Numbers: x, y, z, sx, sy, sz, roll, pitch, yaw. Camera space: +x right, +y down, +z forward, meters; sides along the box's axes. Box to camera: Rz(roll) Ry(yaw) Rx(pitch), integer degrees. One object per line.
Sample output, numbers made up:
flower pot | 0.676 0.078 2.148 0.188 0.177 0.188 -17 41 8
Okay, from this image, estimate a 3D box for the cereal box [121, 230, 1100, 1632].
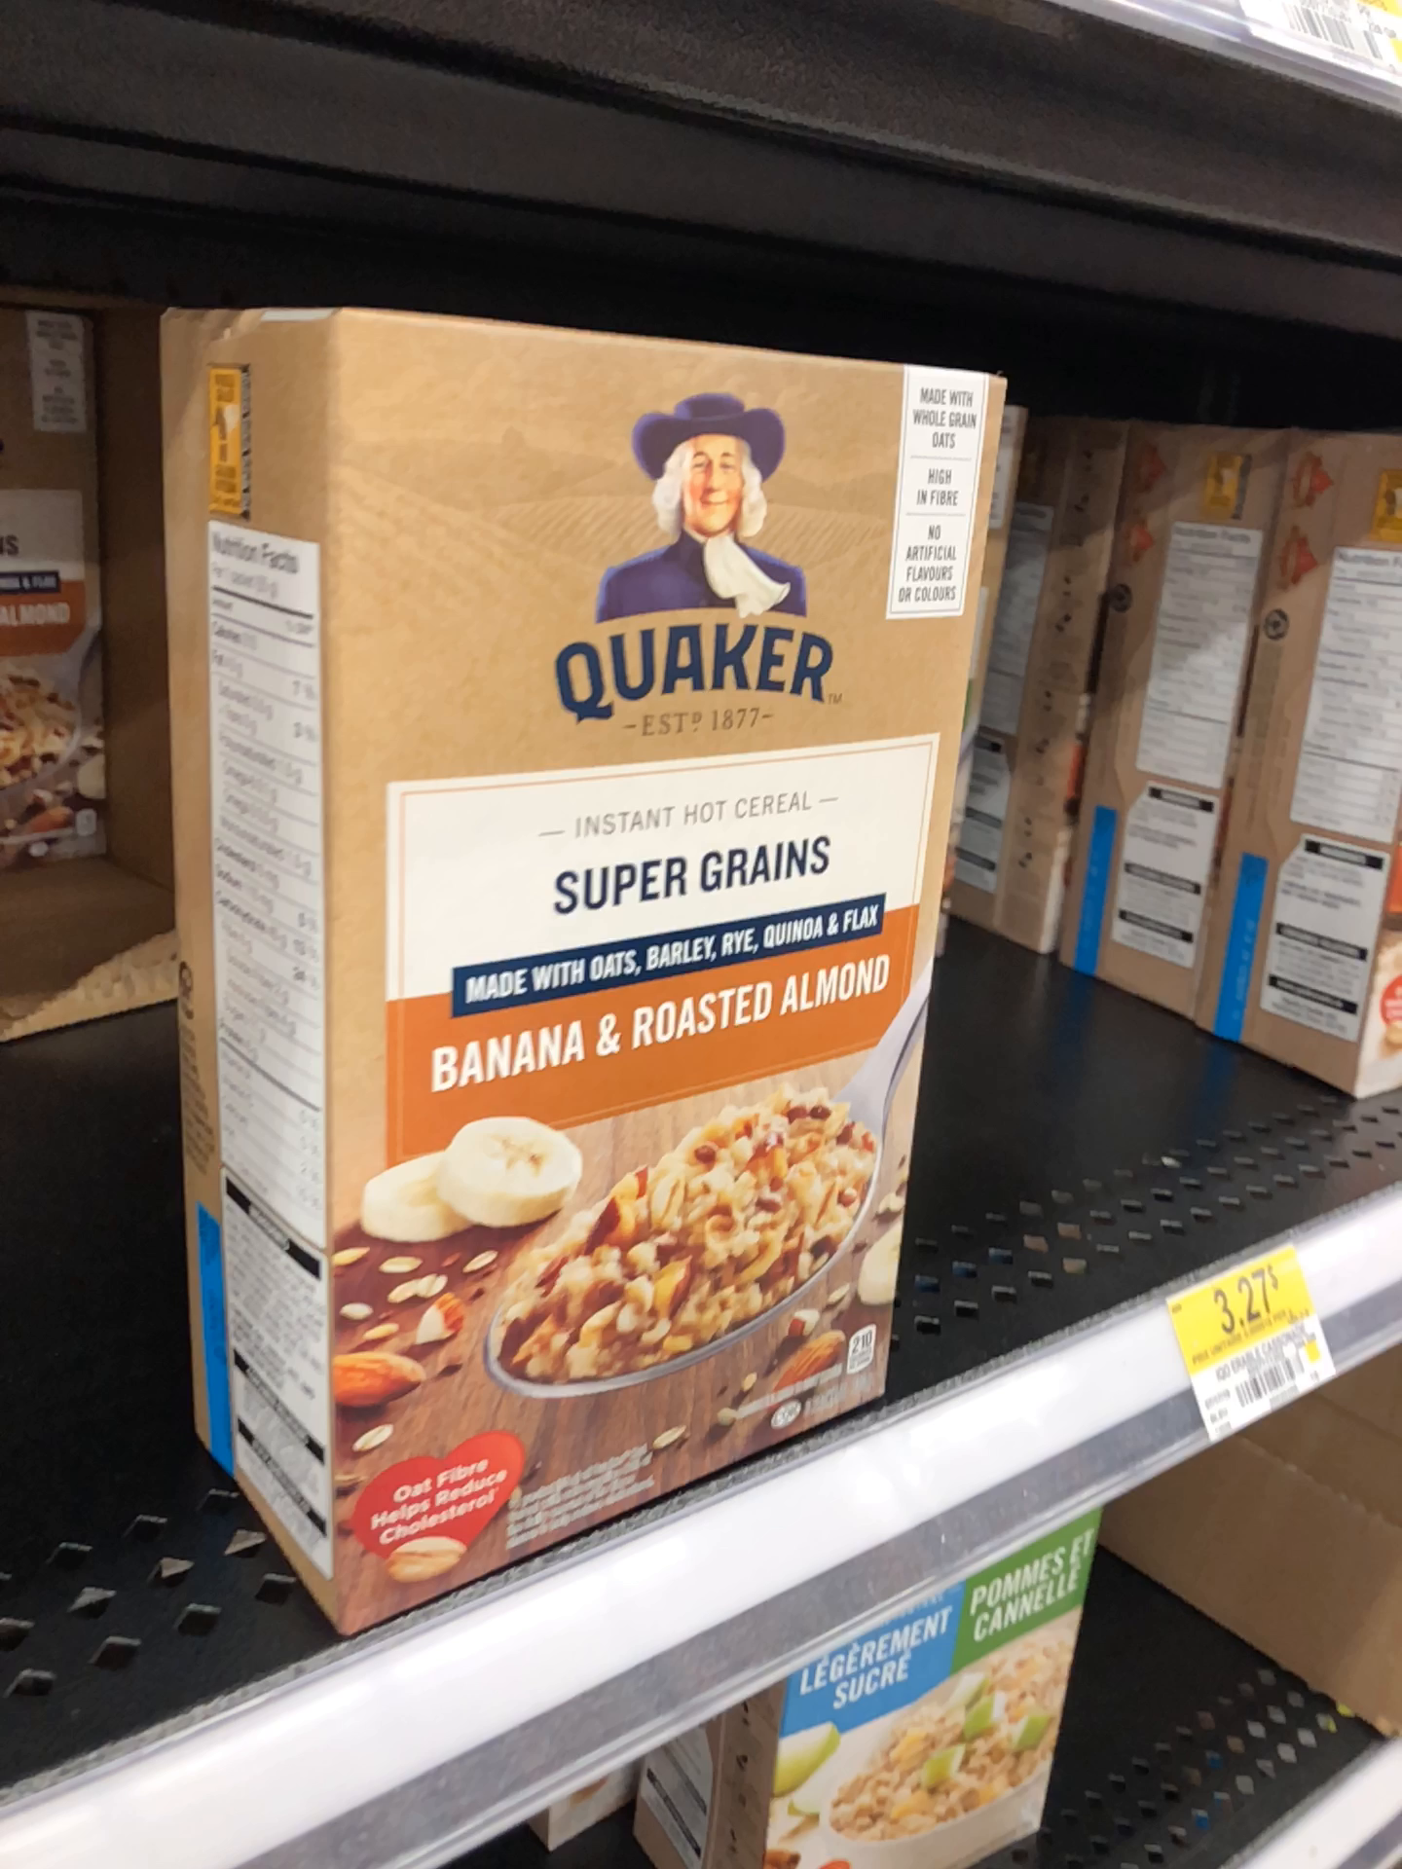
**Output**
cereal box | -0.017 -0.007 0.263 0.130 0.189 0.070 -10 24 -38
